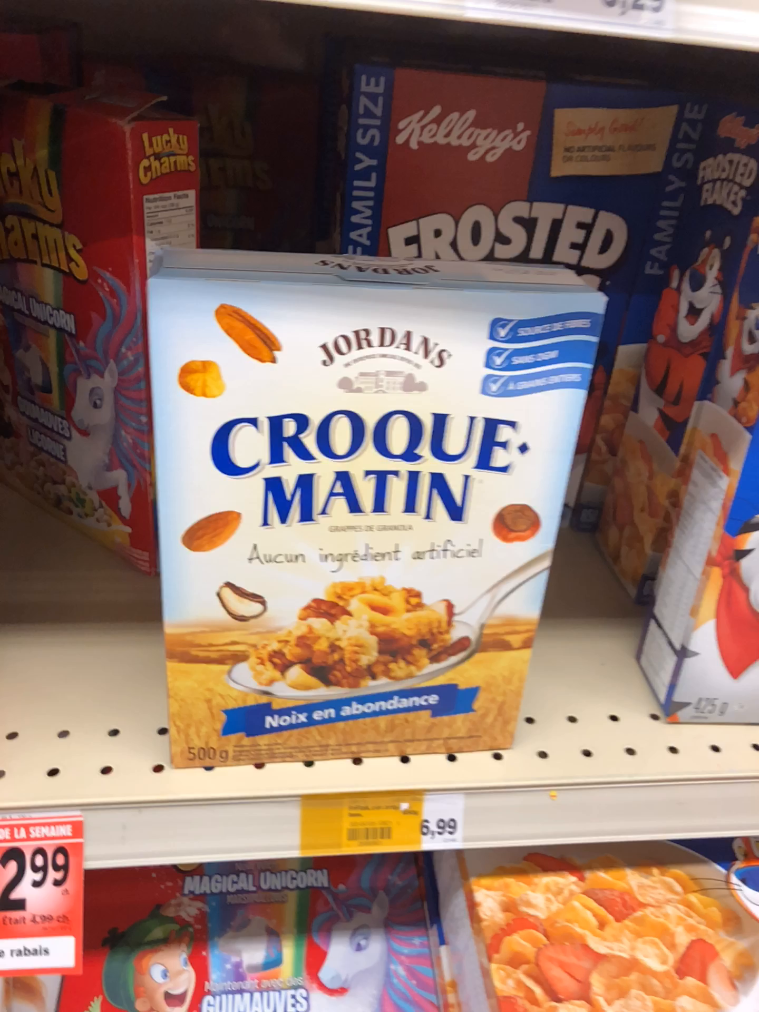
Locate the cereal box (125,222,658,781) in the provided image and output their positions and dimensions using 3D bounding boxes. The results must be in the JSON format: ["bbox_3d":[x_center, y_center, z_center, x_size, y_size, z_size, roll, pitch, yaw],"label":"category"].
[{"bbox_3d":[-0.005,0.011,0.394,0.200,0.258,0.050,-1,30,-11],"label":"cereal box"}]
